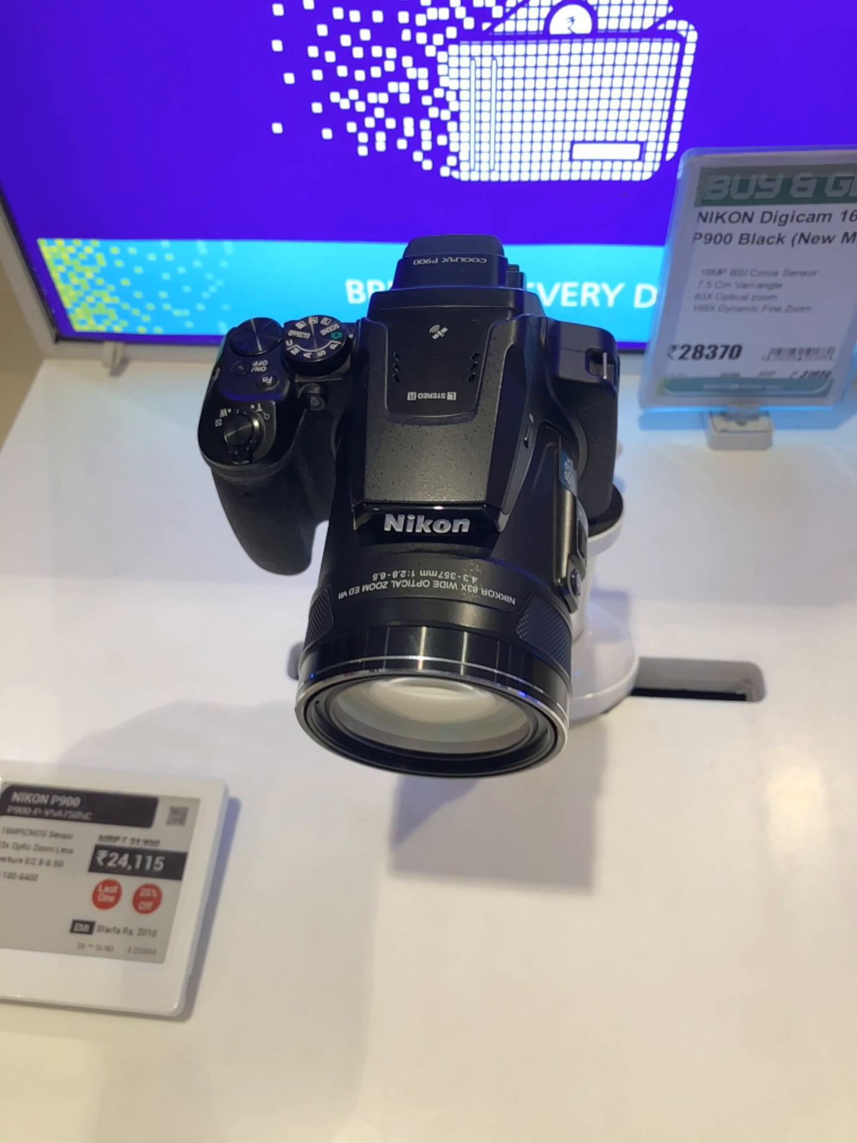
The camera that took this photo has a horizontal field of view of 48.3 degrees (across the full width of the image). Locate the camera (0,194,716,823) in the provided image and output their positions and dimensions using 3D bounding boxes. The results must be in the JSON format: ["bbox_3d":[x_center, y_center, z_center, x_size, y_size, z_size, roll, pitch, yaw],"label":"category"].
[{"bbox_3d":[-0.010,-0.020,0.268,0.140,0.100,0.141,2,53,3],"label":"camera"}]
